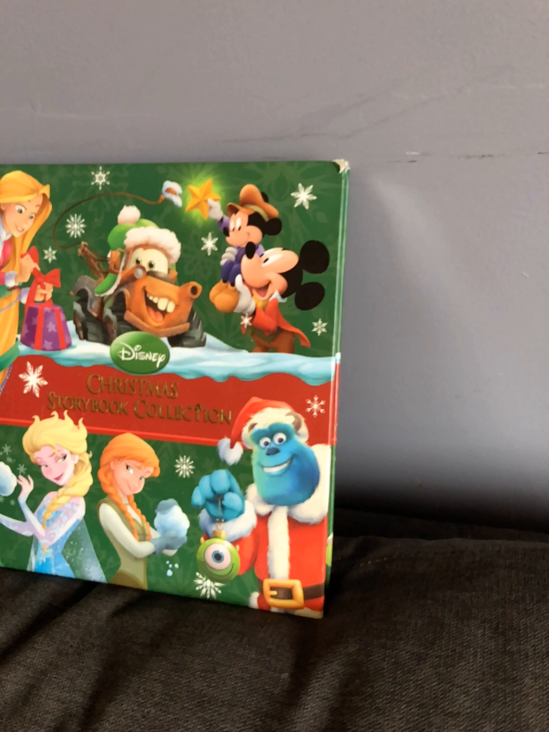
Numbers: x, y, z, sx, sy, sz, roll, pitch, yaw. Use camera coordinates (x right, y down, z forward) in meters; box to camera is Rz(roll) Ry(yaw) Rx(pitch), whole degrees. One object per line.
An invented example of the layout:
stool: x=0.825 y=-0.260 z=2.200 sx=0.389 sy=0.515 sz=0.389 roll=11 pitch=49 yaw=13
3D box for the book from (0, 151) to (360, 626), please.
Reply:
book: x=-0.073 y=0.007 z=0.347 sx=0.227 sy=0.238 sz=0.033 roll=4 pitch=8 yaw=14
